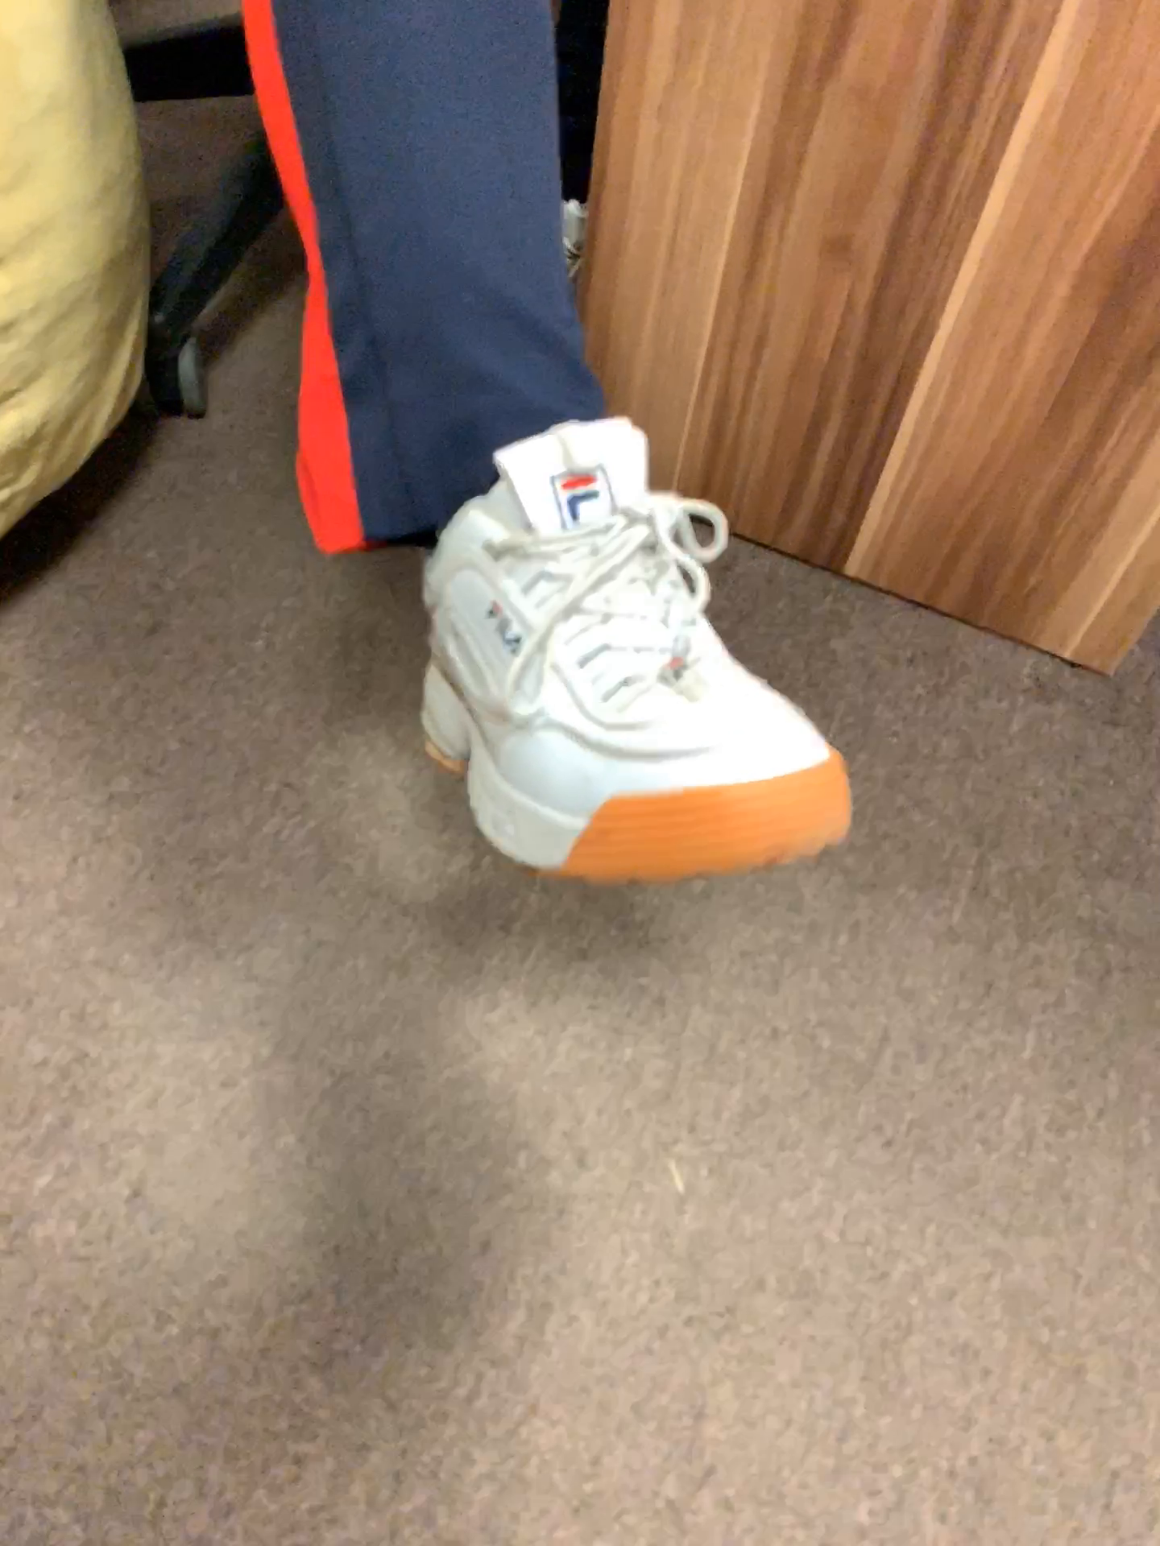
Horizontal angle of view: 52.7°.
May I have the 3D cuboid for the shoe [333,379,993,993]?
[{"bbox_3d":[0.008,-0.055,0.438,0.130,0.130,0.231,-11,32,-25],"label":"shoe"}]
